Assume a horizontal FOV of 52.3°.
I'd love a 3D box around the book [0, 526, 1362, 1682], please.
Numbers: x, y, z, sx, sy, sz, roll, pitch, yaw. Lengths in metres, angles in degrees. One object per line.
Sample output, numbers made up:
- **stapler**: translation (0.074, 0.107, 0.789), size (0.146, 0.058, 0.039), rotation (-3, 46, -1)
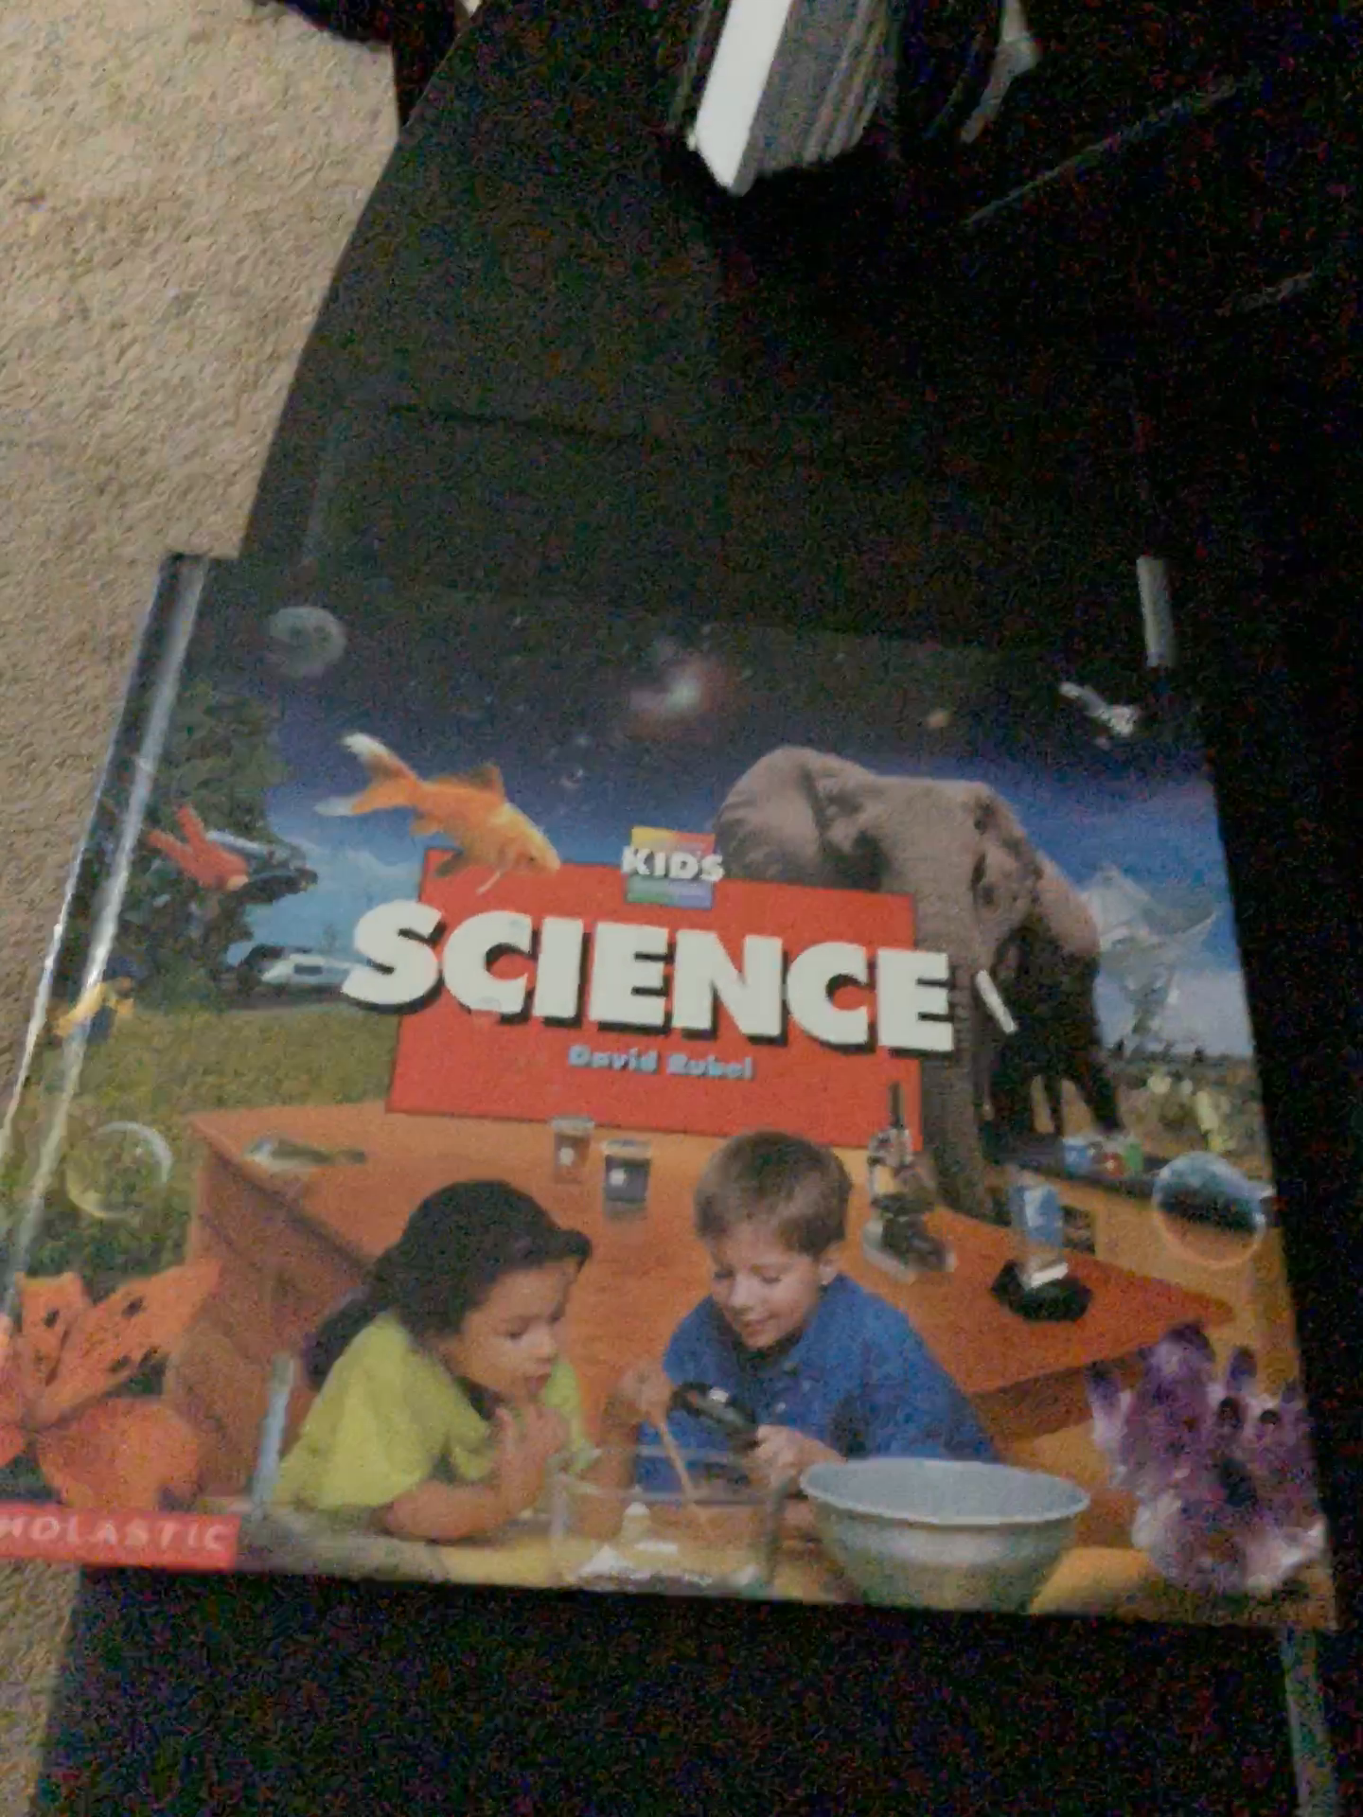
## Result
- **book**: translation (-0.003, 0.030, 0.316), size (0.280, 0.030, 0.240), rotation (5, 63, -4)
